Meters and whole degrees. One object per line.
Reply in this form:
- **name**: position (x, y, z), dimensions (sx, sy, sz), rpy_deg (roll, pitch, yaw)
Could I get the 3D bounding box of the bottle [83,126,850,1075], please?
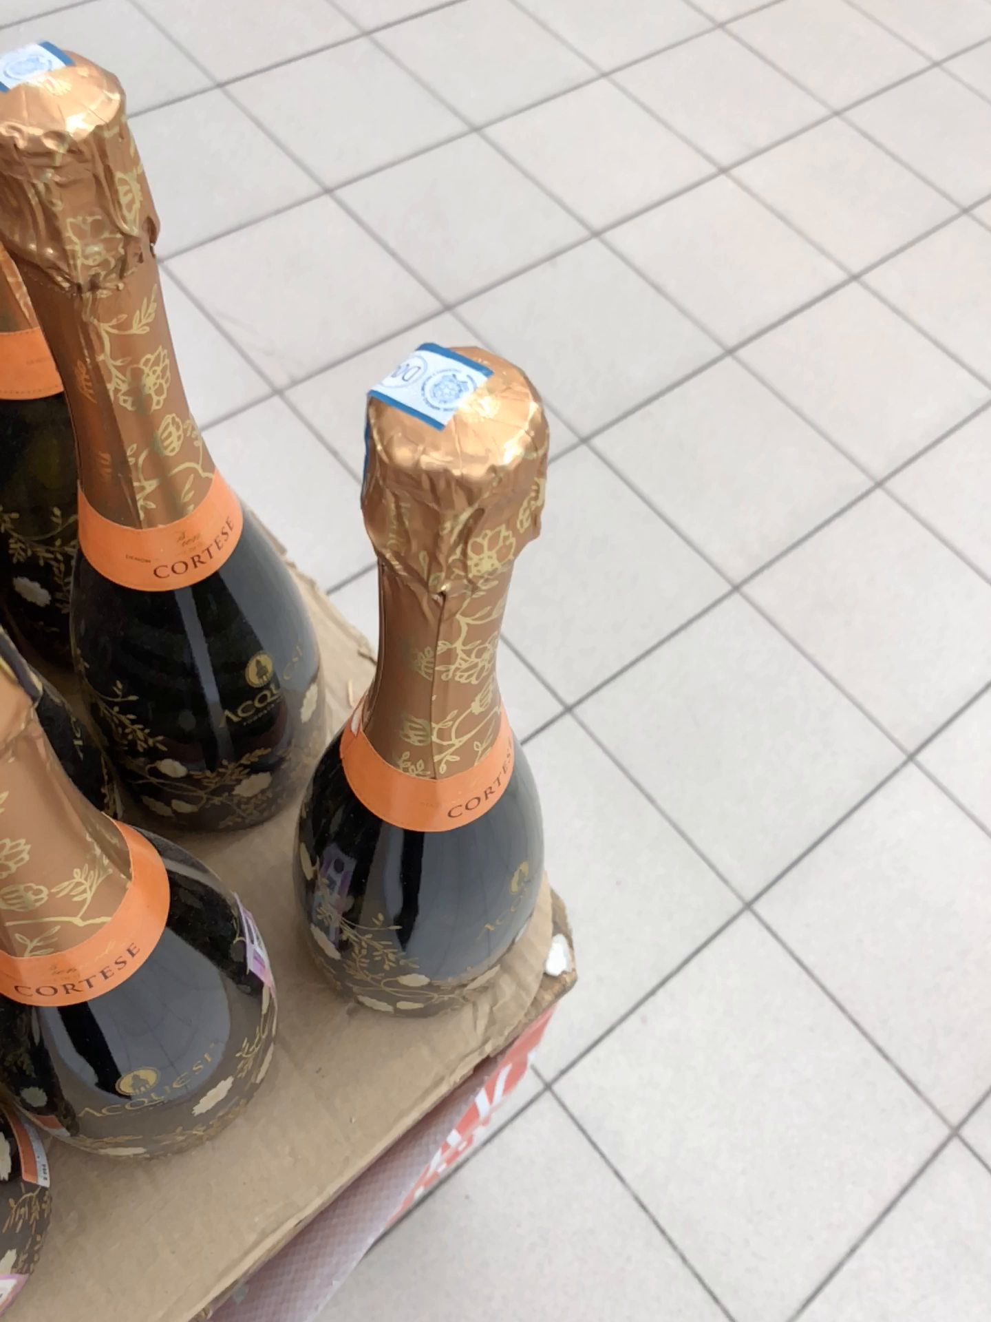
- **bottle**: position (-0.020, 0.026, 0.337), dimensions (0.100, 0.319, 0.100), rpy_deg (3, 60, -6)
